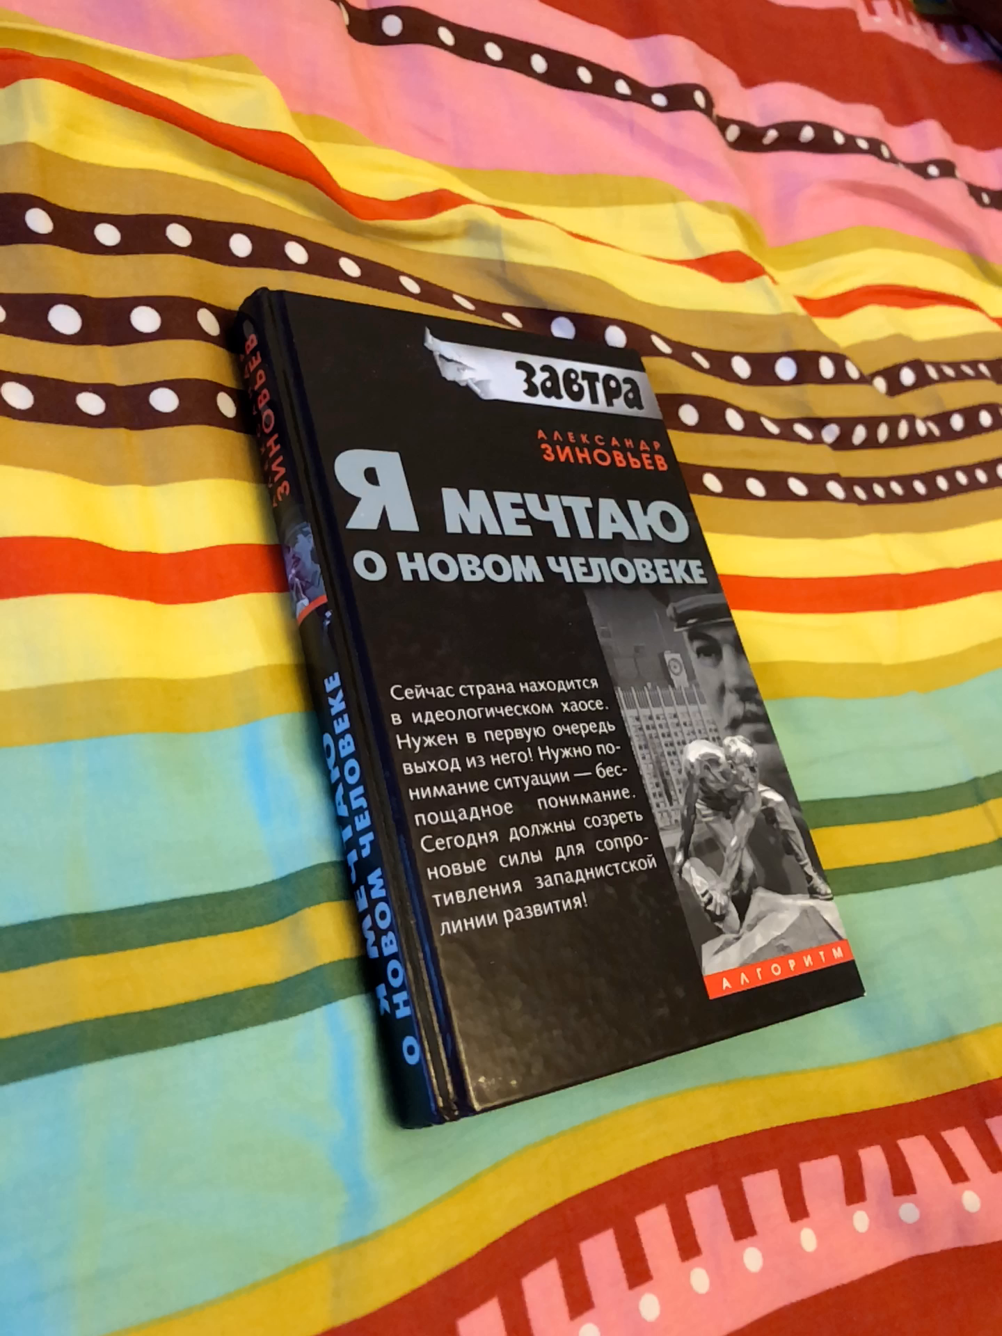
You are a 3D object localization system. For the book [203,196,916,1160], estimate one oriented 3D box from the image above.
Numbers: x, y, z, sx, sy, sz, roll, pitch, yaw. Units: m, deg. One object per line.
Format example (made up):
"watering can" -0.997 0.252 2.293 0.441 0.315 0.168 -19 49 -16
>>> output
"book" 0.013 -0.010 0.286 0.141 0.030 0.220 -2 68 -34
